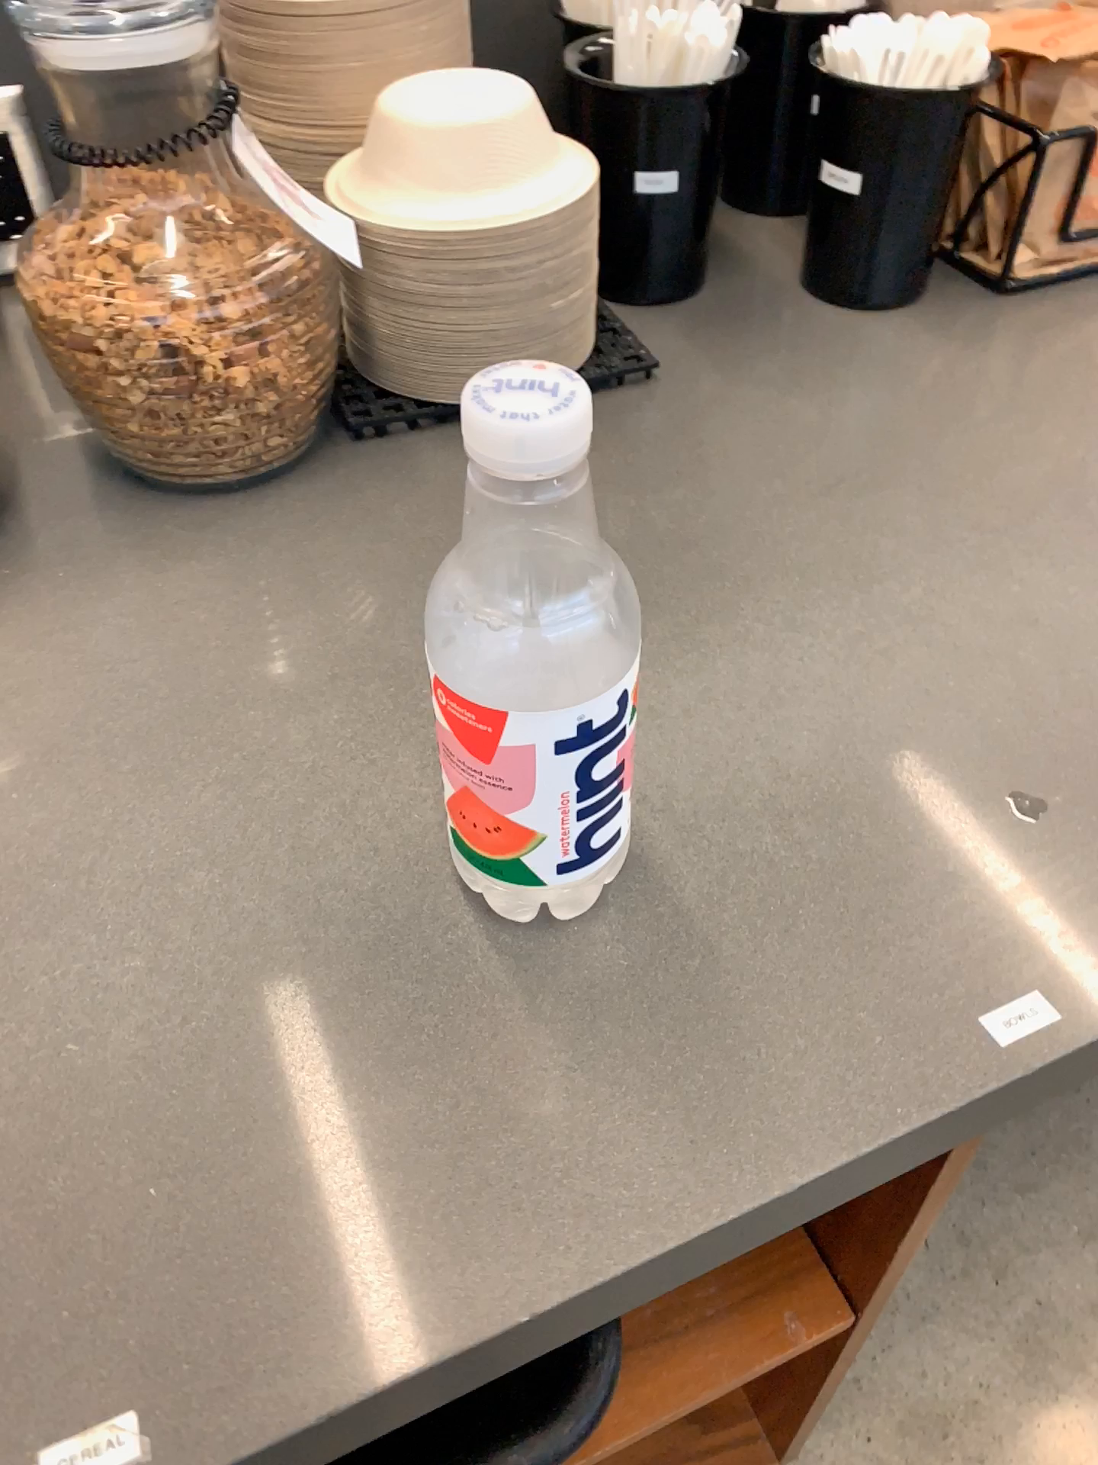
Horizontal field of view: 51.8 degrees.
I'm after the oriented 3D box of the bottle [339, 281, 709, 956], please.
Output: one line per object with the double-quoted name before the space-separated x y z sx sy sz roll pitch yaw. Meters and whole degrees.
"bottle" -0.007 -0.025 0.359 0.070 0.199 0.070 0 46 0
